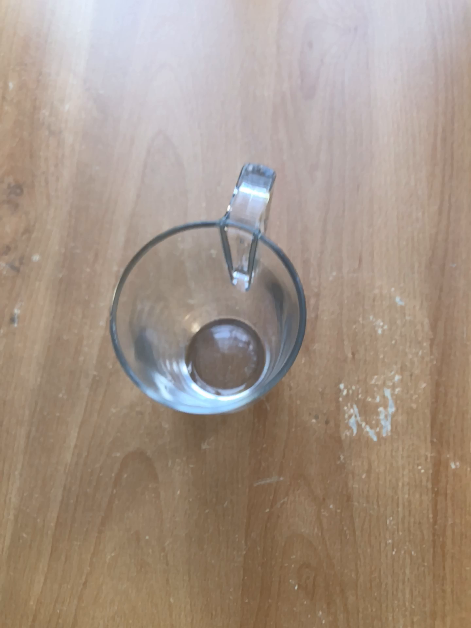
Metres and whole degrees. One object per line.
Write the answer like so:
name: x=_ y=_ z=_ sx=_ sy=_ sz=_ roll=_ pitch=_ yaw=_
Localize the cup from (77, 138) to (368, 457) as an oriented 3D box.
cup: x=0.000 y=0.000 z=0.248 sx=0.078 sy=0.103 sz=0.103 roll=19 pitch=79 yaw=7
